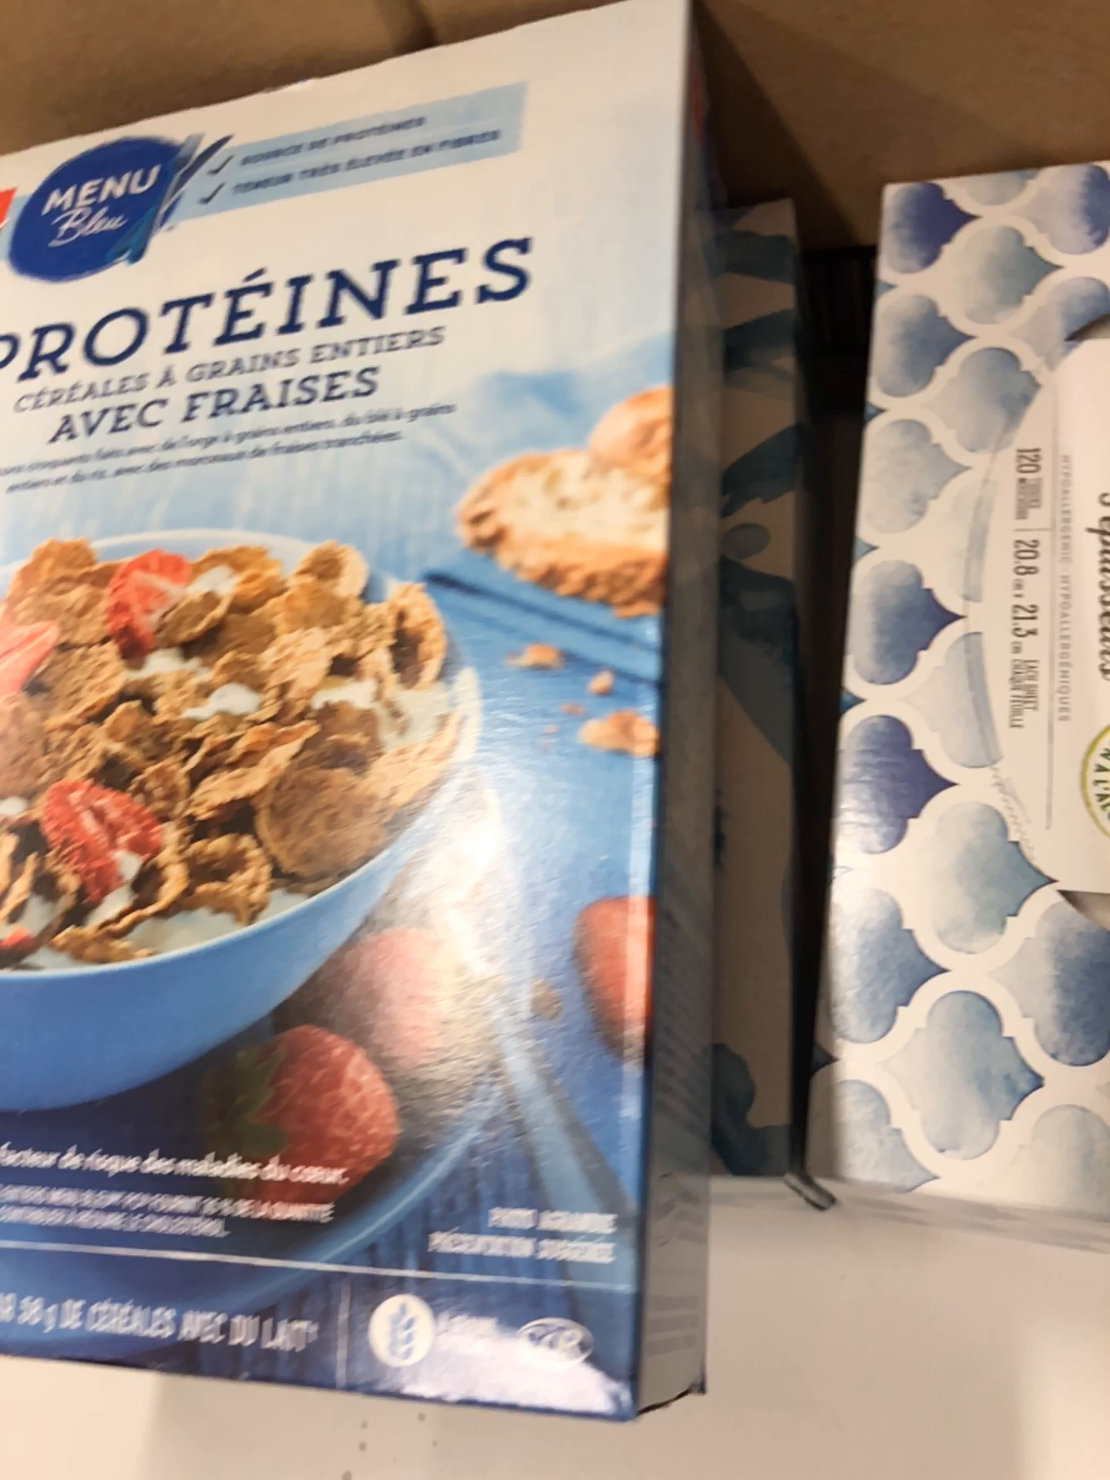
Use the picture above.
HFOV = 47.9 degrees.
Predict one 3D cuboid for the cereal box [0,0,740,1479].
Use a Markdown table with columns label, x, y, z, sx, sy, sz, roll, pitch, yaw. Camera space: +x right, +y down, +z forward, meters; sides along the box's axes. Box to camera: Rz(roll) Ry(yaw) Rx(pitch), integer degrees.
| label | x | y | z | sx | sy | sz | roll | pitch | yaw |
| --- | --- | --- | --- | --- | --- | --- | --- | --- | --- |
| cereal box | -0.065 | -0.015 | 0.229 | 0.190 | 0.050 | 0.250 | -5 | 65 | 19 |
